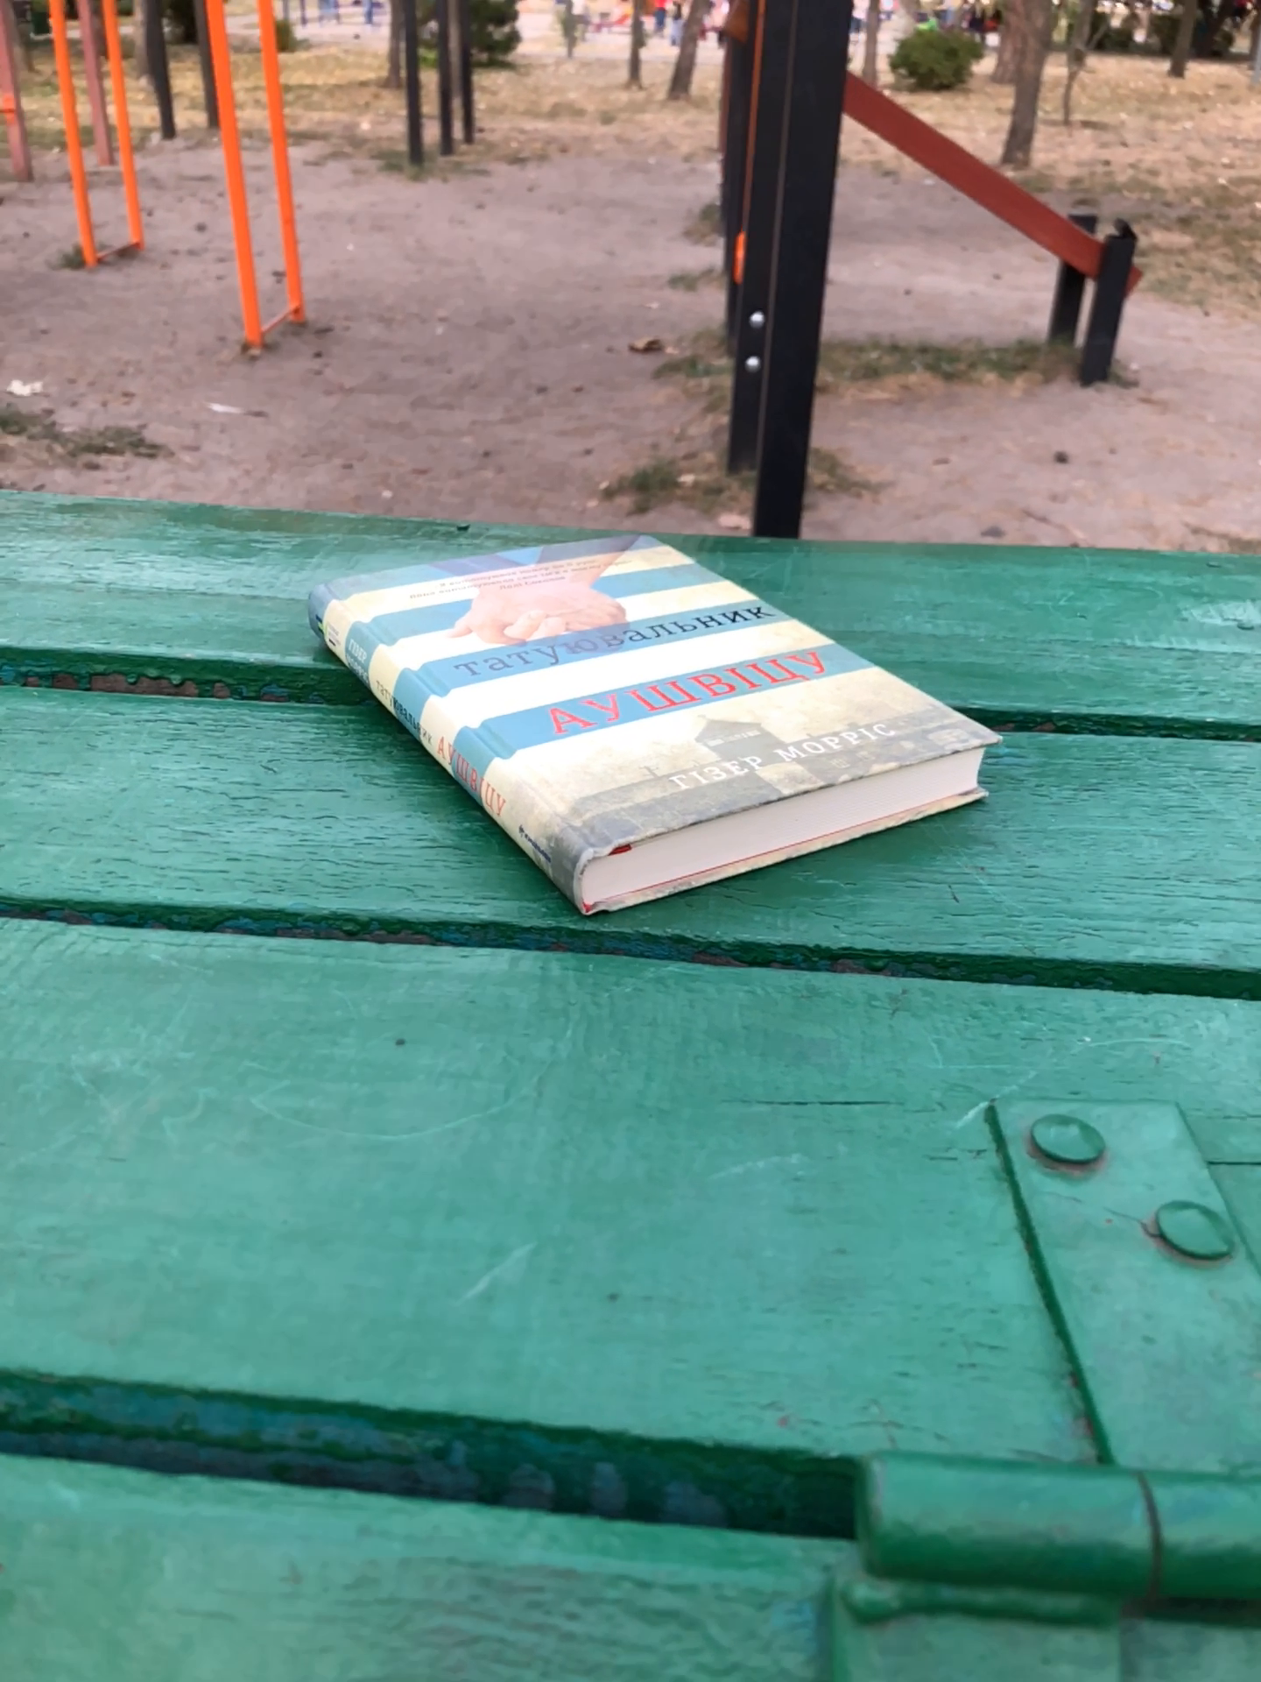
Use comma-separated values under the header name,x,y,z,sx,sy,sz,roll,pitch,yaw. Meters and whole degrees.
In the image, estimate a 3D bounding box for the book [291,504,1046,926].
name,x,y,z,sx,sy,sz,roll,pitch,yaw
book,-0.001,-0.058,0.454,0.152,0.025,0.219,-15,35,-27
